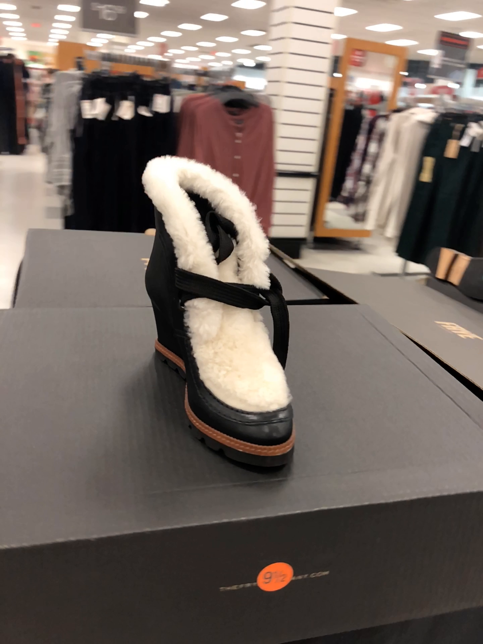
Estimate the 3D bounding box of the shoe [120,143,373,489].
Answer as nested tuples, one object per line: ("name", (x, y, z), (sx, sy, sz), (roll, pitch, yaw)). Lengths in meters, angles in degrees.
("shoe", (-0.023, -0.030, 0.459), (0.101, 0.208, 0.247), (-6, 24, -26))
